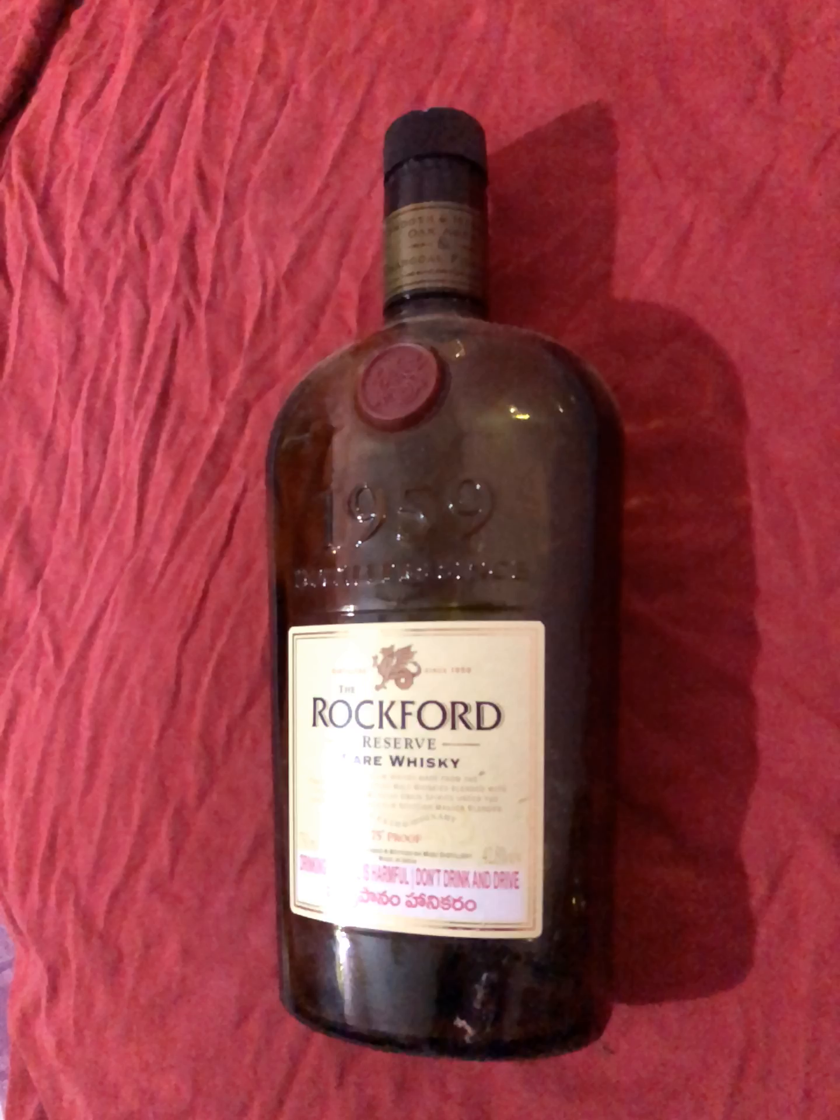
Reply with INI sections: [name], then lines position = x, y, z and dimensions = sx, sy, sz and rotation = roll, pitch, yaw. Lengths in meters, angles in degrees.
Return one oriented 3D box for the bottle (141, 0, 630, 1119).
[bottle]
position = -0.007, -0.008, 0.237
dimensions = 0.100, 0.060, 0.250
rotation = -4, 82, 23
